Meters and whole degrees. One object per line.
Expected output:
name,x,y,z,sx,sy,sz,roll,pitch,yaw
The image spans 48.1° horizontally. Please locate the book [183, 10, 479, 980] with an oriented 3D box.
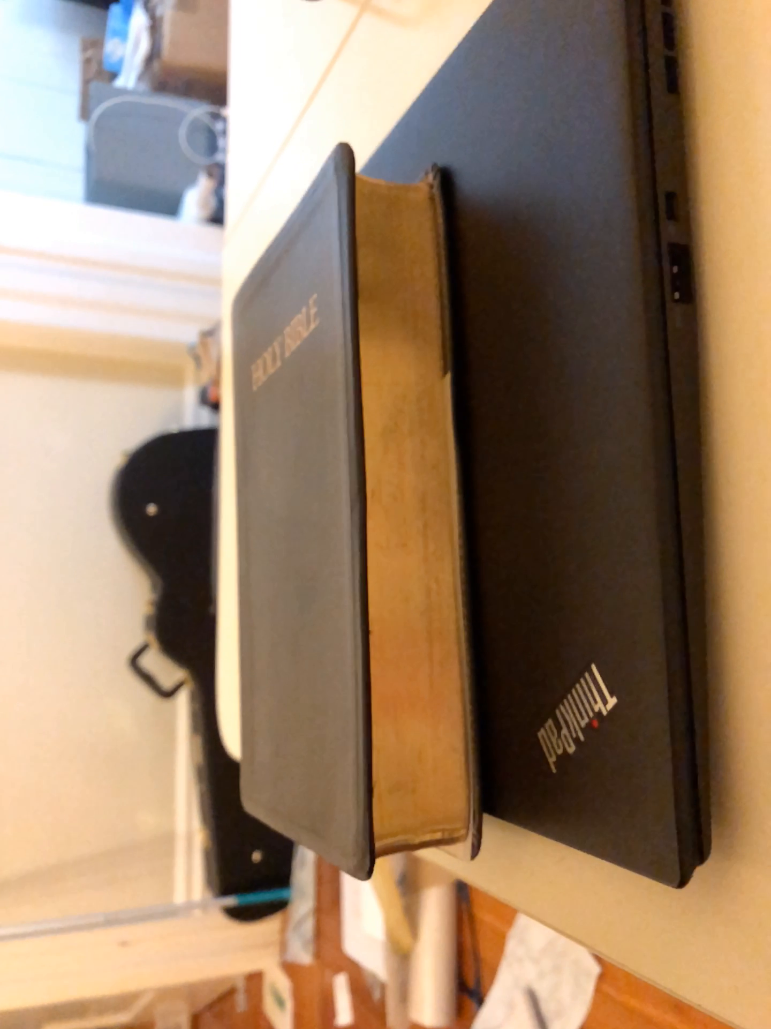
book,-0.031,-0.002,0.296,0.171,0.040,0.240,159,112,-65
